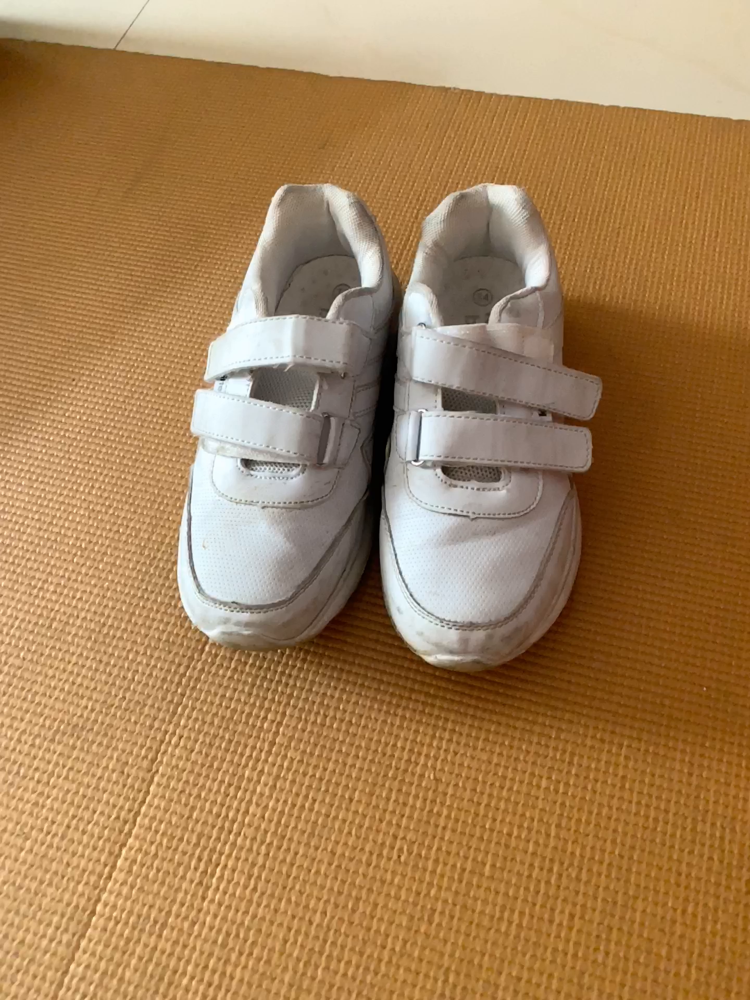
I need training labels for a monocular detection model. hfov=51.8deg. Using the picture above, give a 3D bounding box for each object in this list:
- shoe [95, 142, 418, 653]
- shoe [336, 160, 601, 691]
[{"bbox_3d":[-0.040,-0.060,0.392,0.090,0.099,0.241,6,60,8],"label":"shoe"},{"bbox_3d":[0.053,-0.049,0.367,0.090,0.070,0.251,6,60,8],"label":"shoe"}]
